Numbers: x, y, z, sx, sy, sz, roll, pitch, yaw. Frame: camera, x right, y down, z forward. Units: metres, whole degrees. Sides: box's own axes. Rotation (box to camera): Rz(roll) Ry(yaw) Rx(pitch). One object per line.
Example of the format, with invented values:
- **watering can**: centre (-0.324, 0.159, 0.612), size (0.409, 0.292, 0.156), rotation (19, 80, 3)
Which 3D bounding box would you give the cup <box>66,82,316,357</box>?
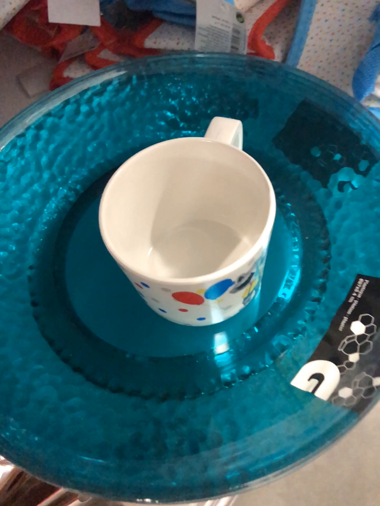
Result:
- **cup**: centre (0.008, -0.019, 0.212), size (0.080, 0.059, 0.109), rotation (13, 64, 14)
